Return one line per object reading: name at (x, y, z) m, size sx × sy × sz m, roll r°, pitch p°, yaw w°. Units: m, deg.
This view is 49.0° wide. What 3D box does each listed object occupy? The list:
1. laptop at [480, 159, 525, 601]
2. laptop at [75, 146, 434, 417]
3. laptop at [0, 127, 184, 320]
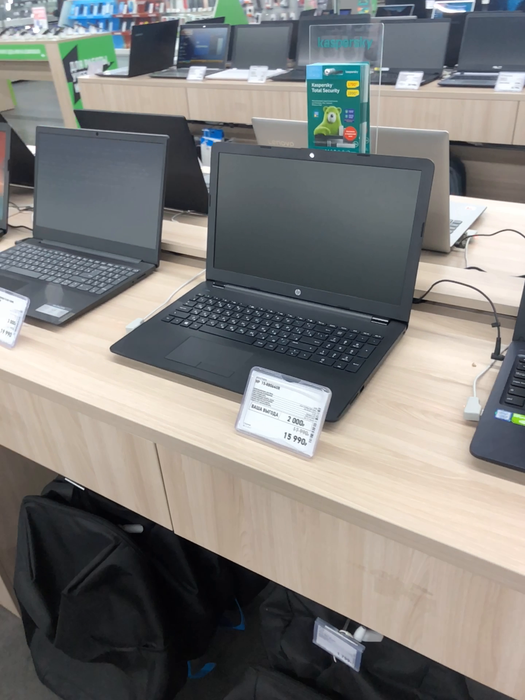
laptop at (0.460, -0.026, 0.591) m, size 0.369 × 0.209 × 0.335 m, roll 14°, pitch 38°, yaw 26°
laptop at (0.004, -0.130, 0.819) m, size 0.367 × 0.216 × 0.313 m, roll 14°, pitch 37°, yaw 28°
laptop at (-0.398, -0.257, 1.072) m, size 0.332 × 0.213 × 0.328 m, roll 15°, pitch 38°, yaw 28°
